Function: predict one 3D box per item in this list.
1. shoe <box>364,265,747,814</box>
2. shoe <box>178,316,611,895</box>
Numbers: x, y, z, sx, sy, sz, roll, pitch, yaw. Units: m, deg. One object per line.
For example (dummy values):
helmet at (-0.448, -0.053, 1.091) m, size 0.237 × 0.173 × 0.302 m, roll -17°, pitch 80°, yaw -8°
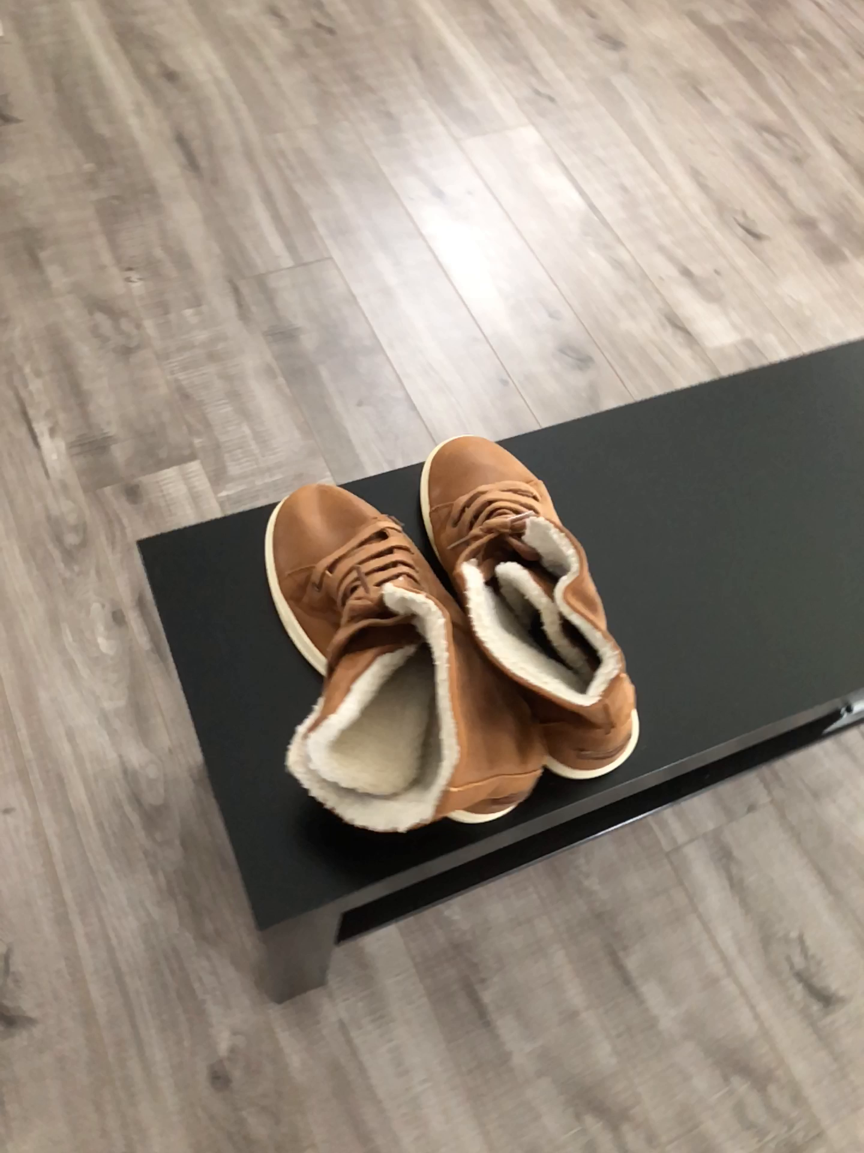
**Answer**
shoe at (0.049, -0.022, 0.545) m, size 0.110 × 0.150 × 0.260 m, roll -11°, pitch 63°, yaw -13°
shoe at (-0.034, 0.014, 0.517) m, size 0.110 × 0.140 × 0.260 m, roll -20°, pitch 66°, yaw -17°
